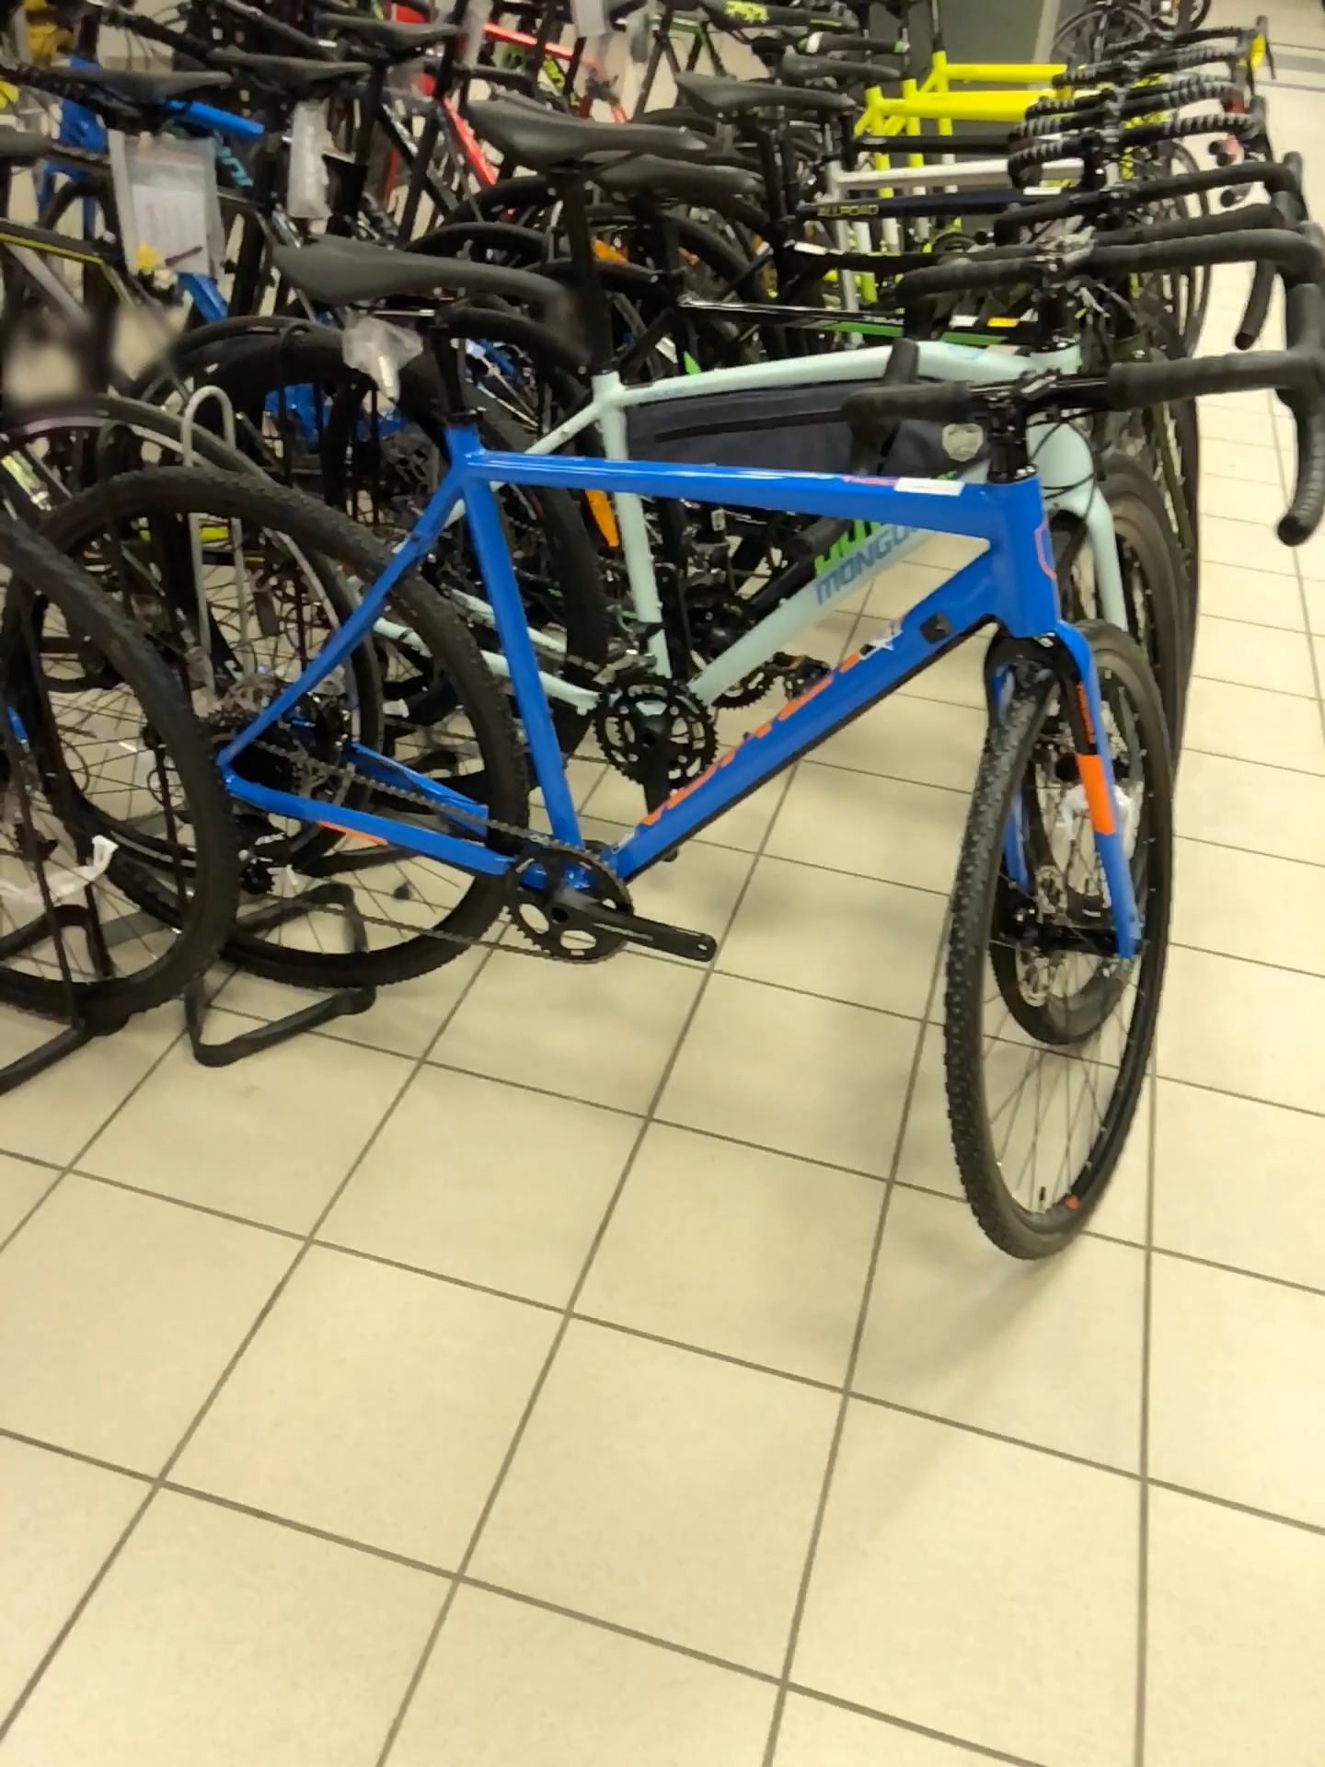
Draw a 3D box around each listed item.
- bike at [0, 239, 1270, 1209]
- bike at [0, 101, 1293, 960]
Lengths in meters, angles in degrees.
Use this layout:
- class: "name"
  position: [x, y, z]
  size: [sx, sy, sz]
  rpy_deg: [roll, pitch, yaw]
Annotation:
- class: "bike"
  position: [-0.060, -0.175, 1.832]
  size: [1.469, 0.805, 0.527]
  rpy_deg: [10, 36, -2]
- class: "bike"
  position: [0.035, -0.487, 2.035]
  size: [1.421, 0.870, 0.619]
  rpy_deg: [7, 36, 0]
